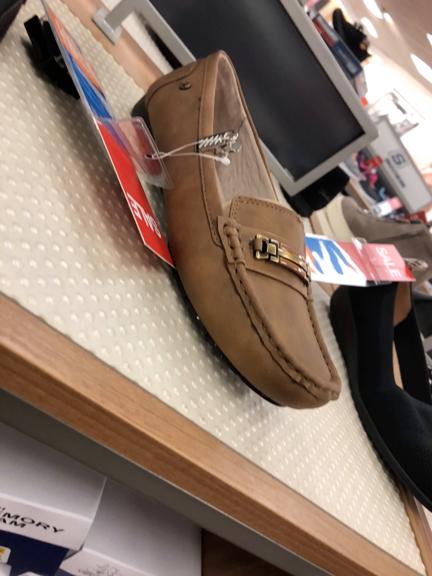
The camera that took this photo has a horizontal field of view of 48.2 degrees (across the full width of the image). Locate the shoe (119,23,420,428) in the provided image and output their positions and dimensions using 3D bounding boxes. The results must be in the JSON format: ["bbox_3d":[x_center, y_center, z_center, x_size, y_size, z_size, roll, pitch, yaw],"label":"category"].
[{"bbox_3d":[0.024,-0.041,0.307,0.087,0.079,0.235,22,41,-55],"label":"shoe"}]
